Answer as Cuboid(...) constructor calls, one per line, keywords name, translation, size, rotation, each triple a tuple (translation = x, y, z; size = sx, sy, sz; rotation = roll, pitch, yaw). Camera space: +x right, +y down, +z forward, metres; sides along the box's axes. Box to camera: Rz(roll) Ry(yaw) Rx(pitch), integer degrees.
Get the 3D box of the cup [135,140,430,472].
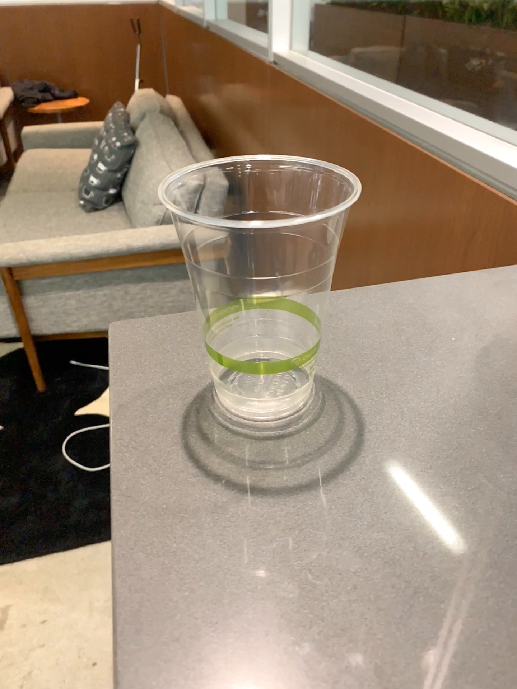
Cuboid(name="cup", translation=(0.005, -0.026, 0.274), size=(0.100, 0.119, 0.101), rotation=(0, 35, 0))
